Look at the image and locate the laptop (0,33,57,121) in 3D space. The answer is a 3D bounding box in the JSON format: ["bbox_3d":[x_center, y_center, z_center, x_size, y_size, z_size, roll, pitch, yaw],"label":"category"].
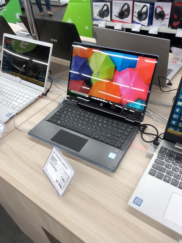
[{"bbox_3d":[-0.370,-0.213,0.859,0.293,0.171,0.324,21,47,24],"label":"laptop"}]

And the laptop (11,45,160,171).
[{"bbox_3d":[0.001,-0.080,0.659,0.326,0.194,0.327,19,45,25],"label":"laptop"}]

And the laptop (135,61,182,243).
[{"bbox_3d":[0.329,0.074,0.412,0.352,0.218,0.330,21,47,27],"label":"laptop"}]
